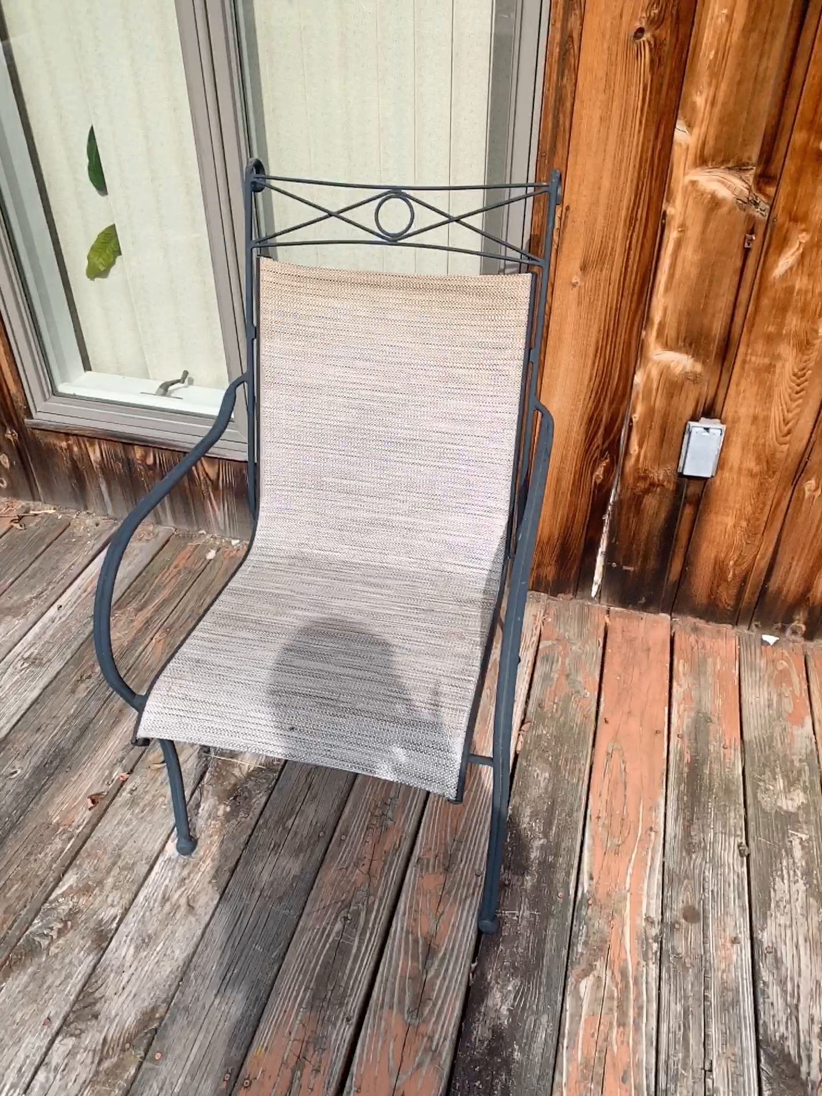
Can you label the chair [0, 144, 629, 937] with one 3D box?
[{"bbox_3d":[-0.057,-0.026,1.289,0.610,0.945,0.653,8,37,11],"label":"chair"}]
